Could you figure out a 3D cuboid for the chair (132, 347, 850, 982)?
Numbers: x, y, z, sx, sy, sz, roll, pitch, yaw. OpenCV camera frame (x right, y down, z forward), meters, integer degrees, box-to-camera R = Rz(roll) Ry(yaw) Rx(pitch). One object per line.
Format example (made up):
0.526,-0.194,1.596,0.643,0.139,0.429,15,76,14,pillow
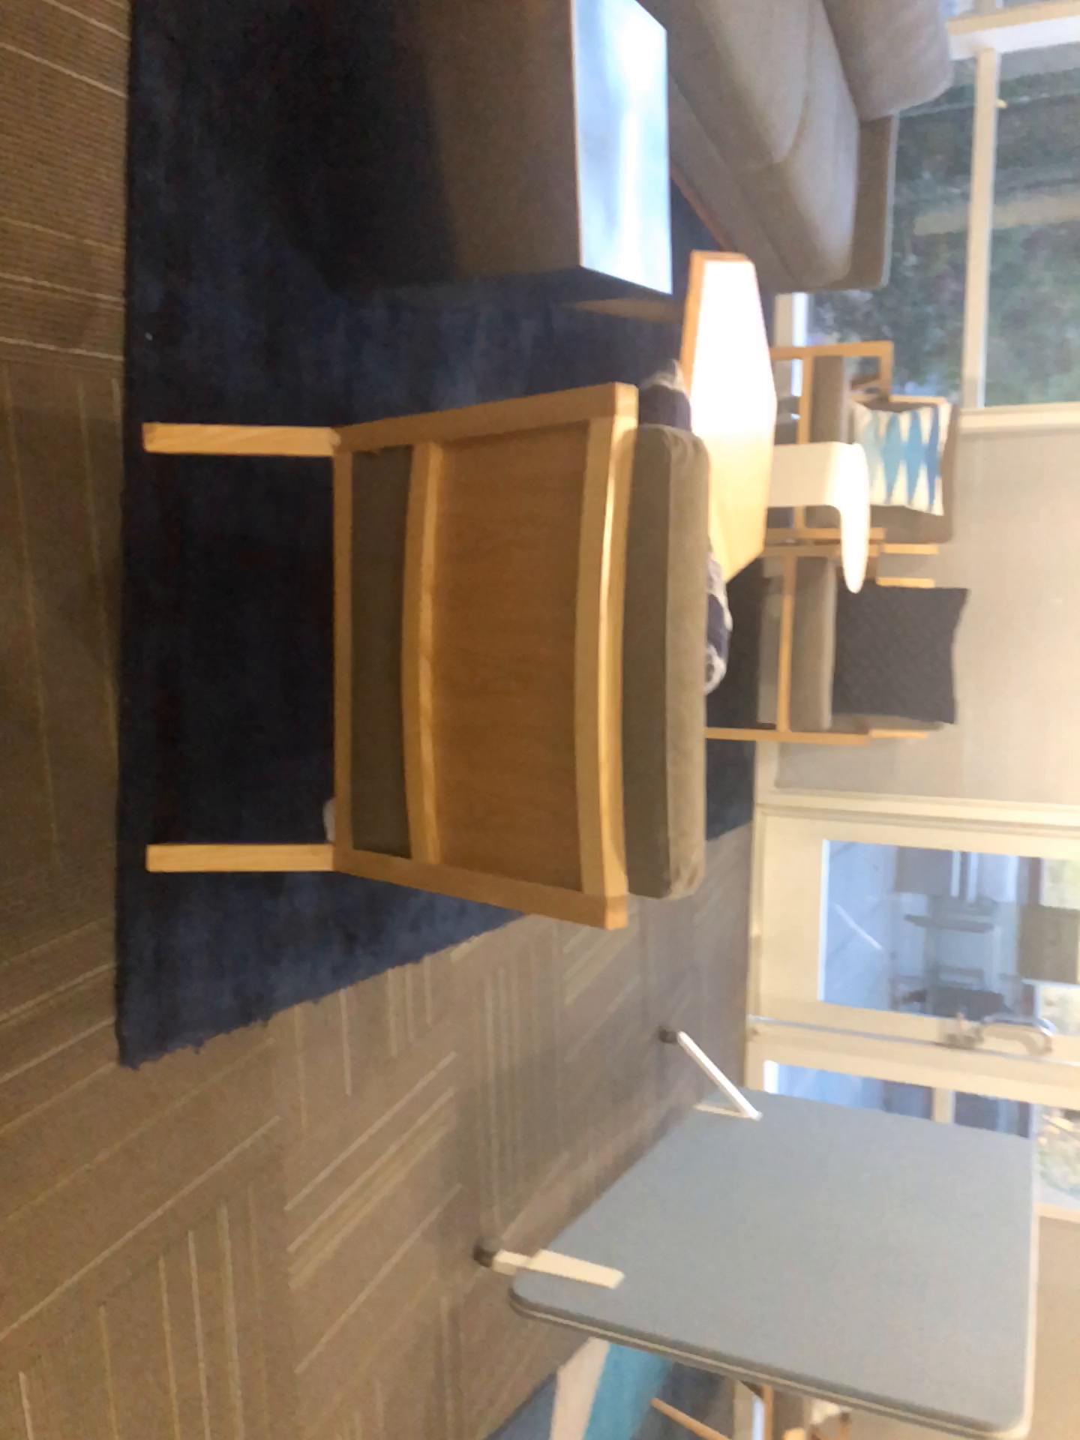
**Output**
-0.006,-0.081,1.788,0.836,0.775,0.670,-4,96,-67,chair
